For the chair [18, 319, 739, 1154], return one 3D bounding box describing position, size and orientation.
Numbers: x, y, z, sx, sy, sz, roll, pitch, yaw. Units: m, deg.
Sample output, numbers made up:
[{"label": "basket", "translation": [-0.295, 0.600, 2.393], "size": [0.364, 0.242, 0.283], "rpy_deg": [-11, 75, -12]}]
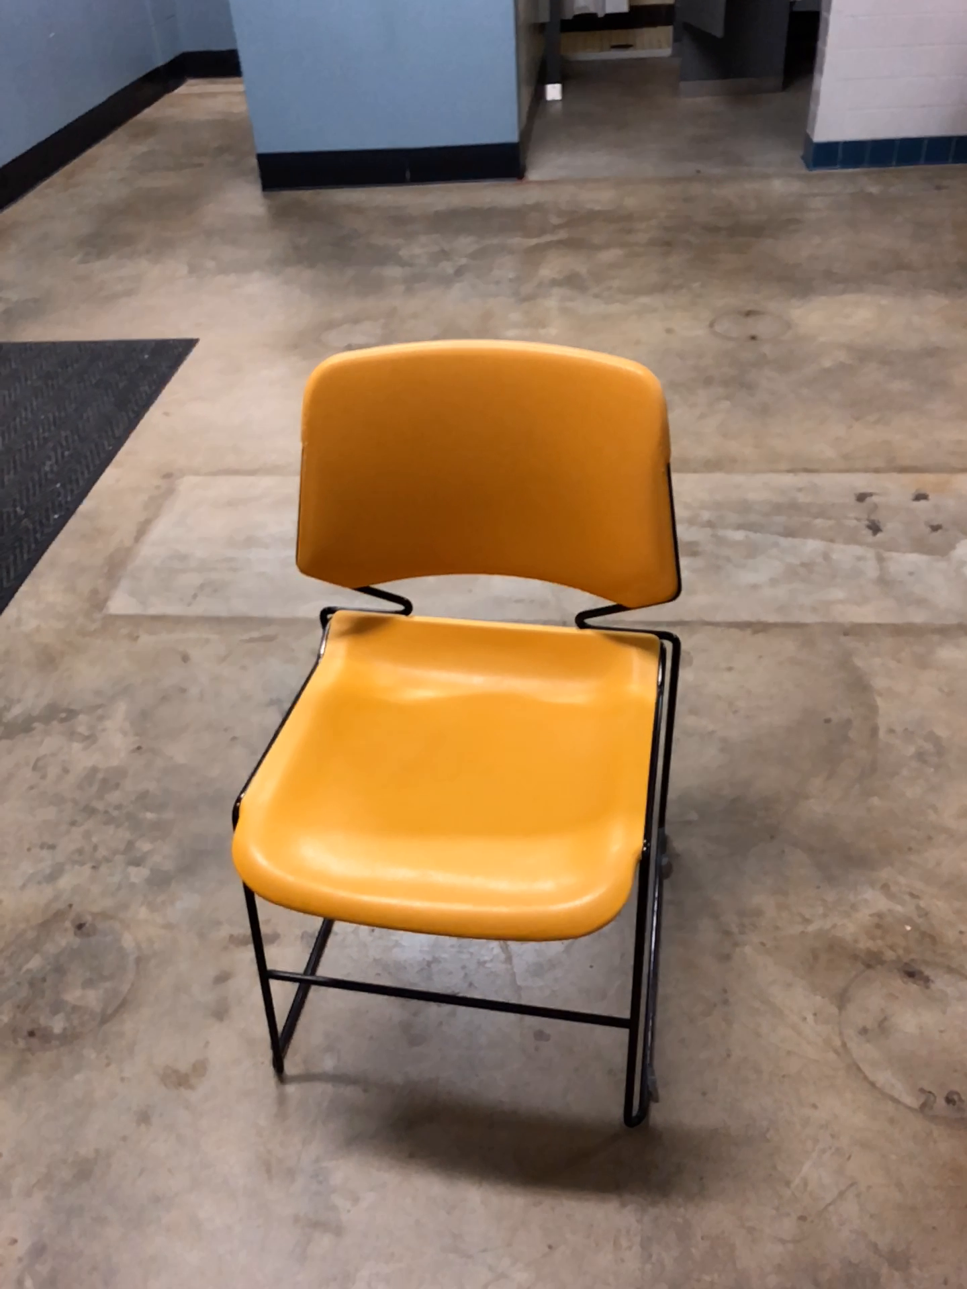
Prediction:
[{"label": "chair", "translation": [-0.022, 0.087, 1.294], "size": [0.577, 0.735, 0.618], "rpy_deg": [4, 39, 11]}]
